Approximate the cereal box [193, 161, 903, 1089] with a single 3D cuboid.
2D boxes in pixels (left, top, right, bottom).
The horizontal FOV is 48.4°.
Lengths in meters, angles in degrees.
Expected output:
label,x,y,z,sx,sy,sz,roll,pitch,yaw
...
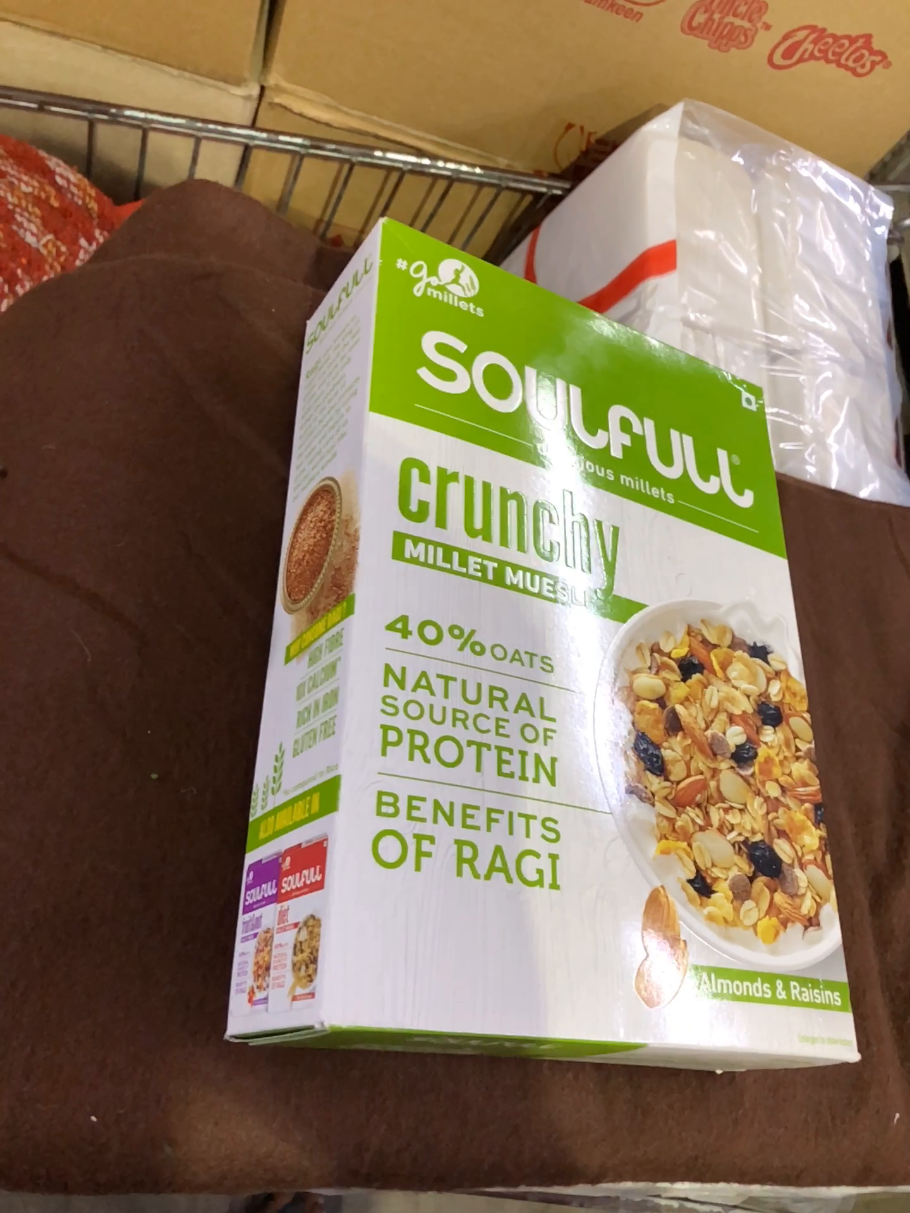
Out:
label,x,y,z,sx,sy,sz,roll,pitch,yaw
cereal box,0.027,0.004,0.298,0.160,0.060,0.241,15,58,-23
